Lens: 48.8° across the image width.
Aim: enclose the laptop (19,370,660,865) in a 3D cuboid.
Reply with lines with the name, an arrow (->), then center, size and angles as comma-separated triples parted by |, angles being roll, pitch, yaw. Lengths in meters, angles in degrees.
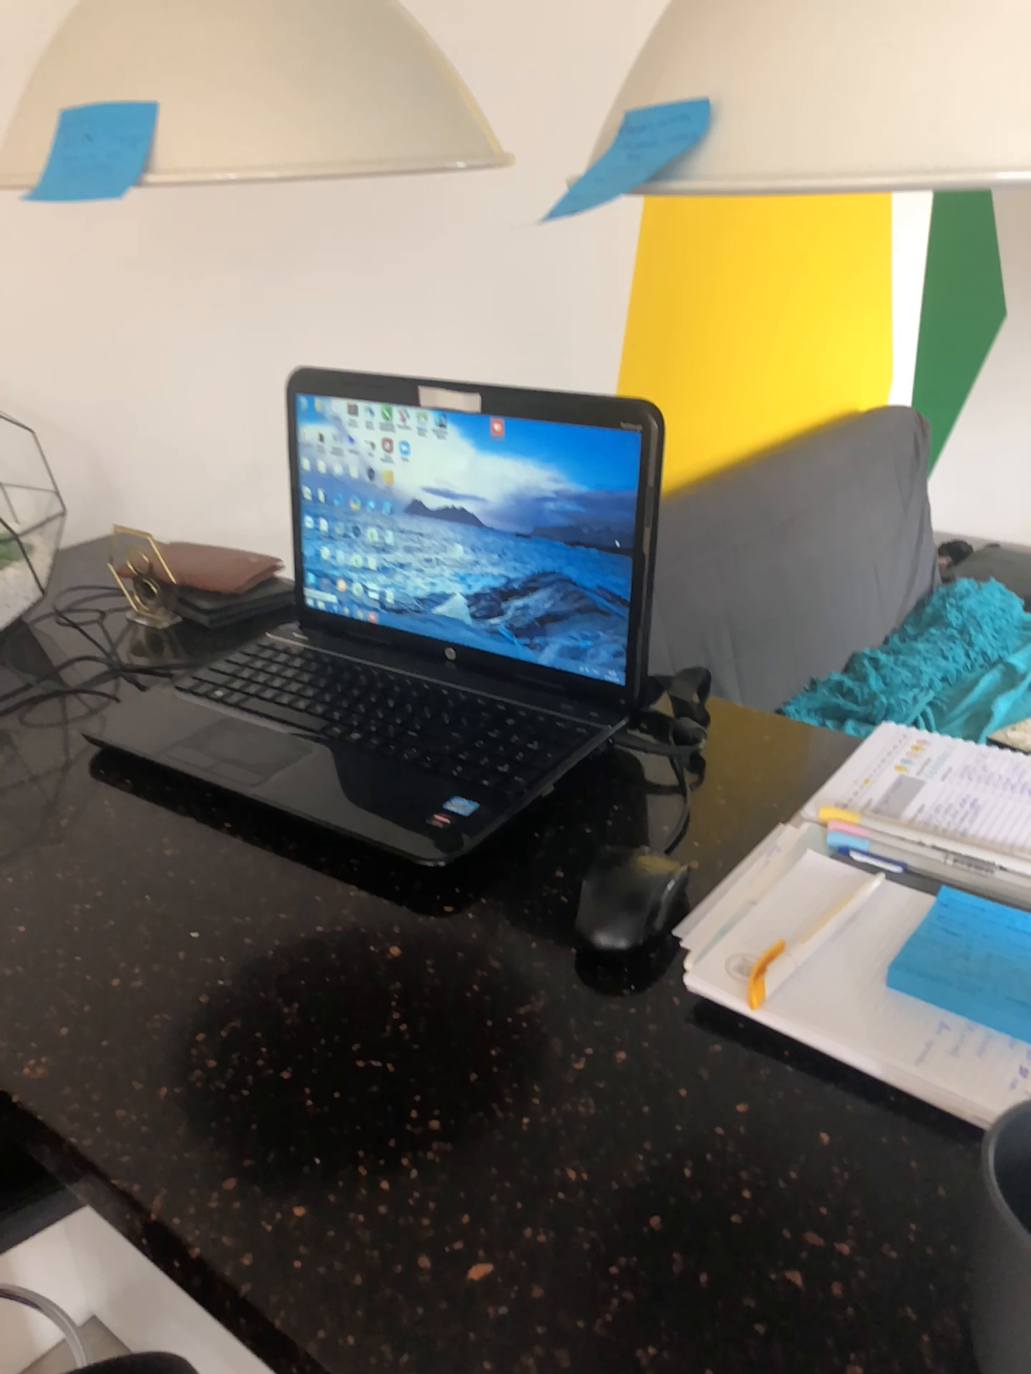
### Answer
laptop -> -0.119, -0.084, 0.839 | 0.361, 0.217, 0.268 | 15, 31, 33
